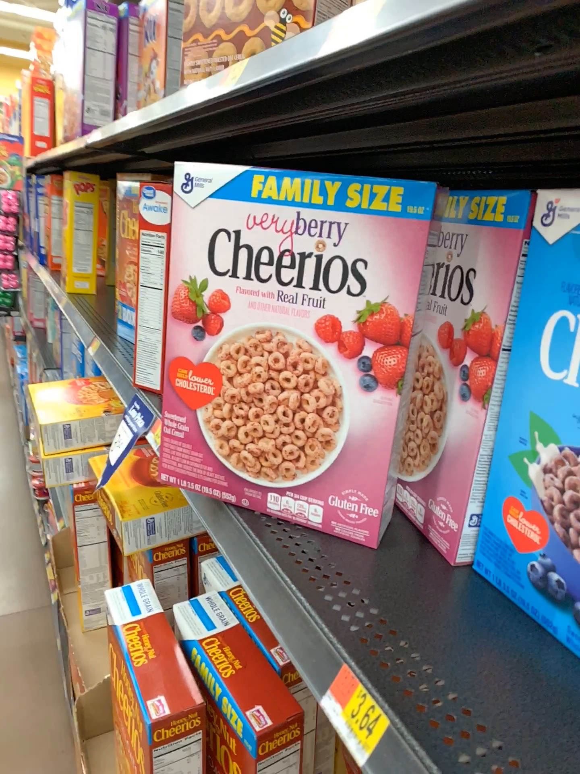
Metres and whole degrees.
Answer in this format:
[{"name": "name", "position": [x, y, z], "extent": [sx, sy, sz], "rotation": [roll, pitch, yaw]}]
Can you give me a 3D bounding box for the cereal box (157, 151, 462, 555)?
[{"name": "cereal box", "position": [0.004, -0.037, 0.548], "extent": [0.240, 0.319, 0.060], "rotation": [12, 15, 21]}]
